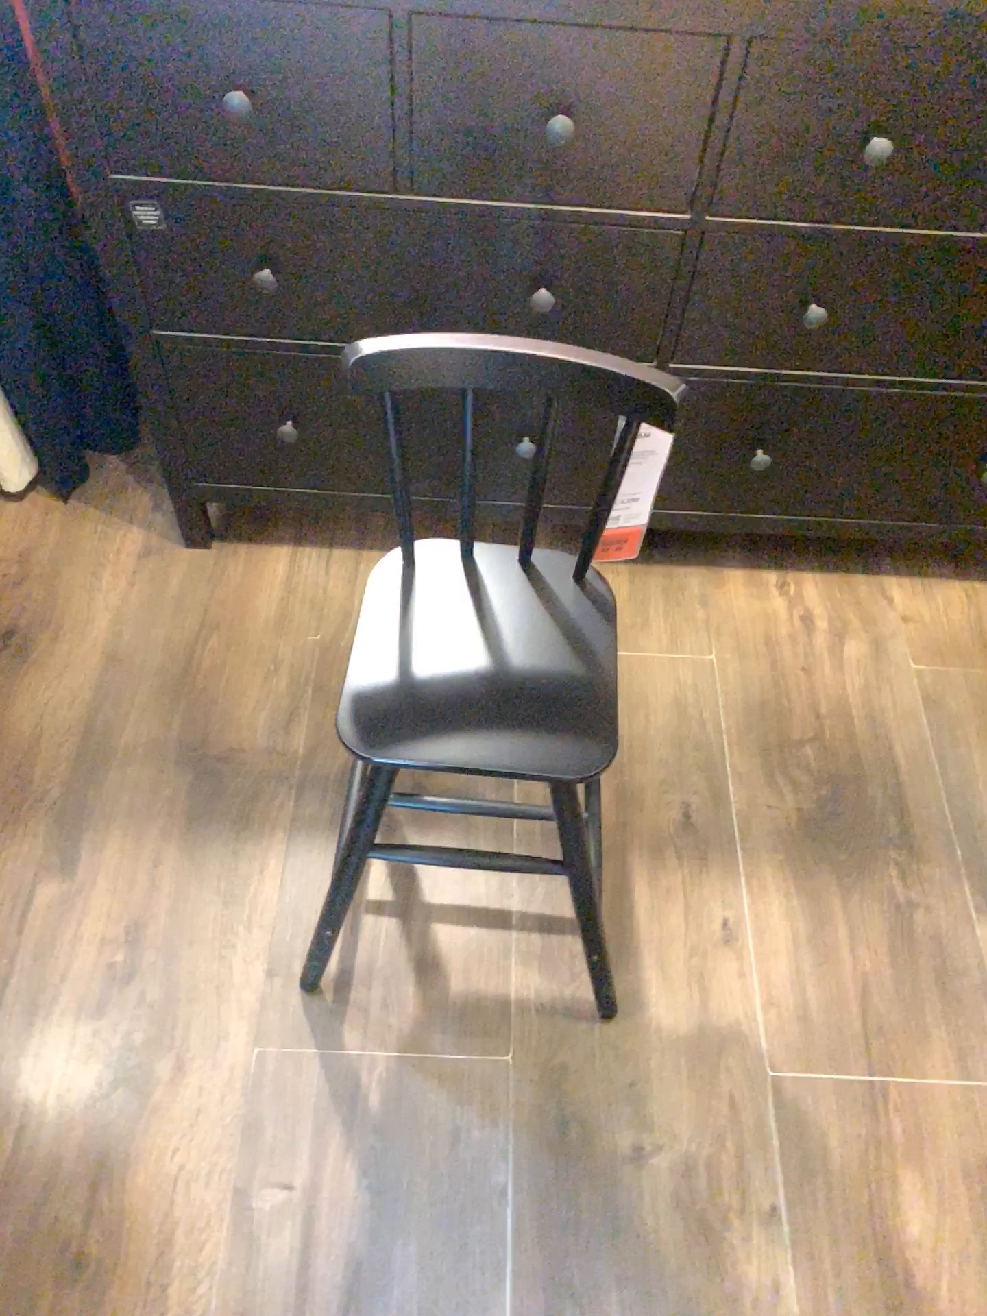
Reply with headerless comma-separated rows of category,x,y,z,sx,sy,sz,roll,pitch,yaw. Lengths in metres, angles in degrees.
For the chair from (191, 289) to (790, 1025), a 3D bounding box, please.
chair,-0.010,0.078,1.234,0.450,0.848,0.471,5,55,0
